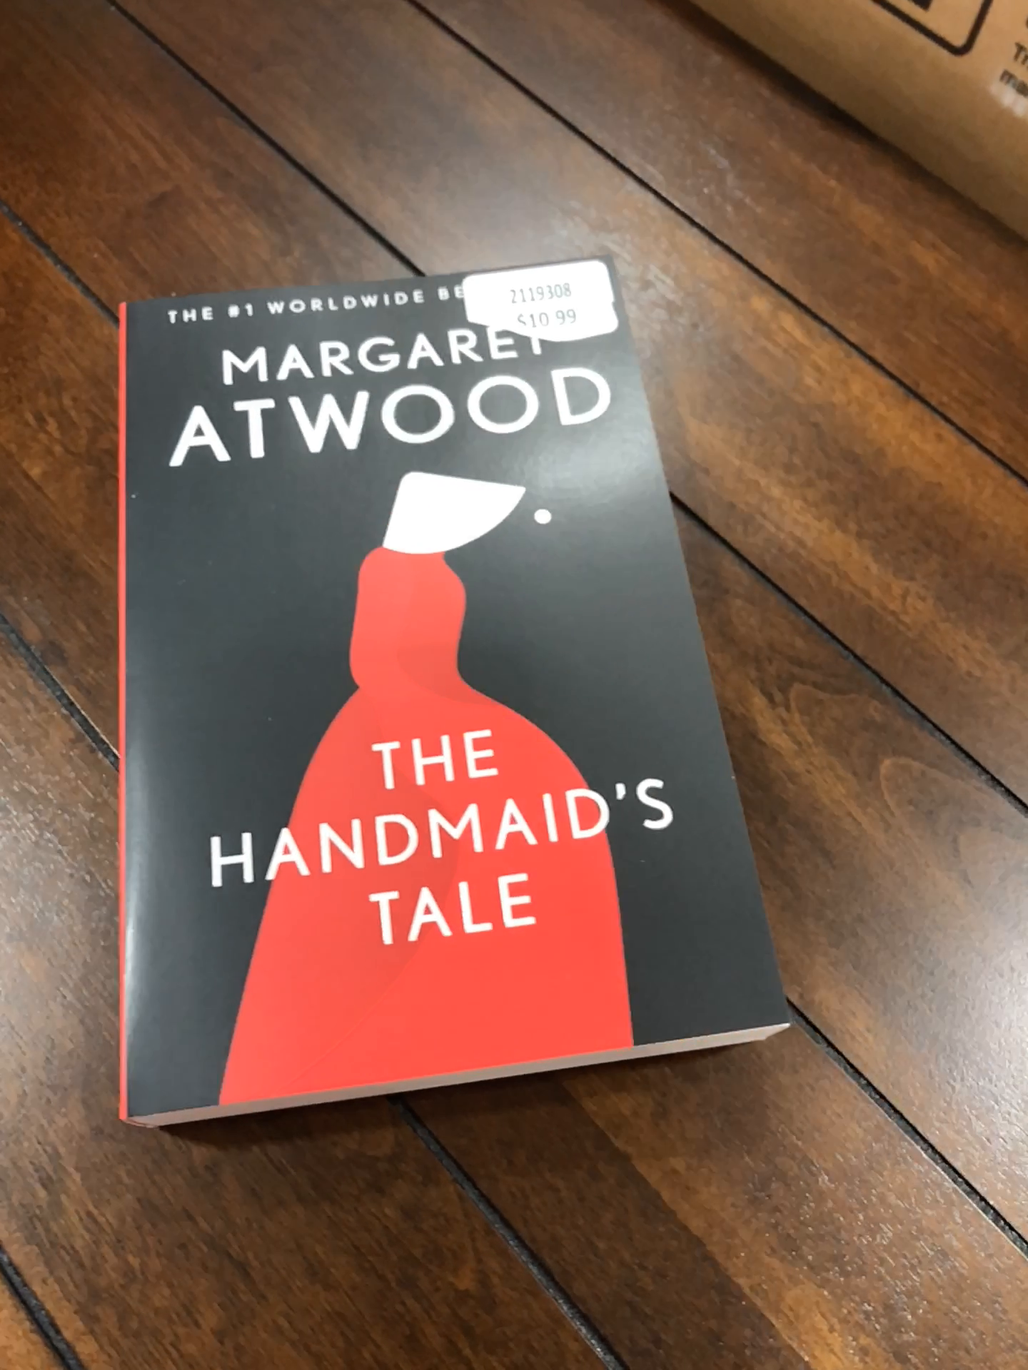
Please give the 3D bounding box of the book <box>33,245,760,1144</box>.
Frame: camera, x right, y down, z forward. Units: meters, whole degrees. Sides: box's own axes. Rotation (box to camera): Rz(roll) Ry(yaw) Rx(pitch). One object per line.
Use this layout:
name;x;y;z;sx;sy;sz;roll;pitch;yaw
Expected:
book;-0.035;-0.012;0.275;0.138;0.030;0.207;-6;65;-5
